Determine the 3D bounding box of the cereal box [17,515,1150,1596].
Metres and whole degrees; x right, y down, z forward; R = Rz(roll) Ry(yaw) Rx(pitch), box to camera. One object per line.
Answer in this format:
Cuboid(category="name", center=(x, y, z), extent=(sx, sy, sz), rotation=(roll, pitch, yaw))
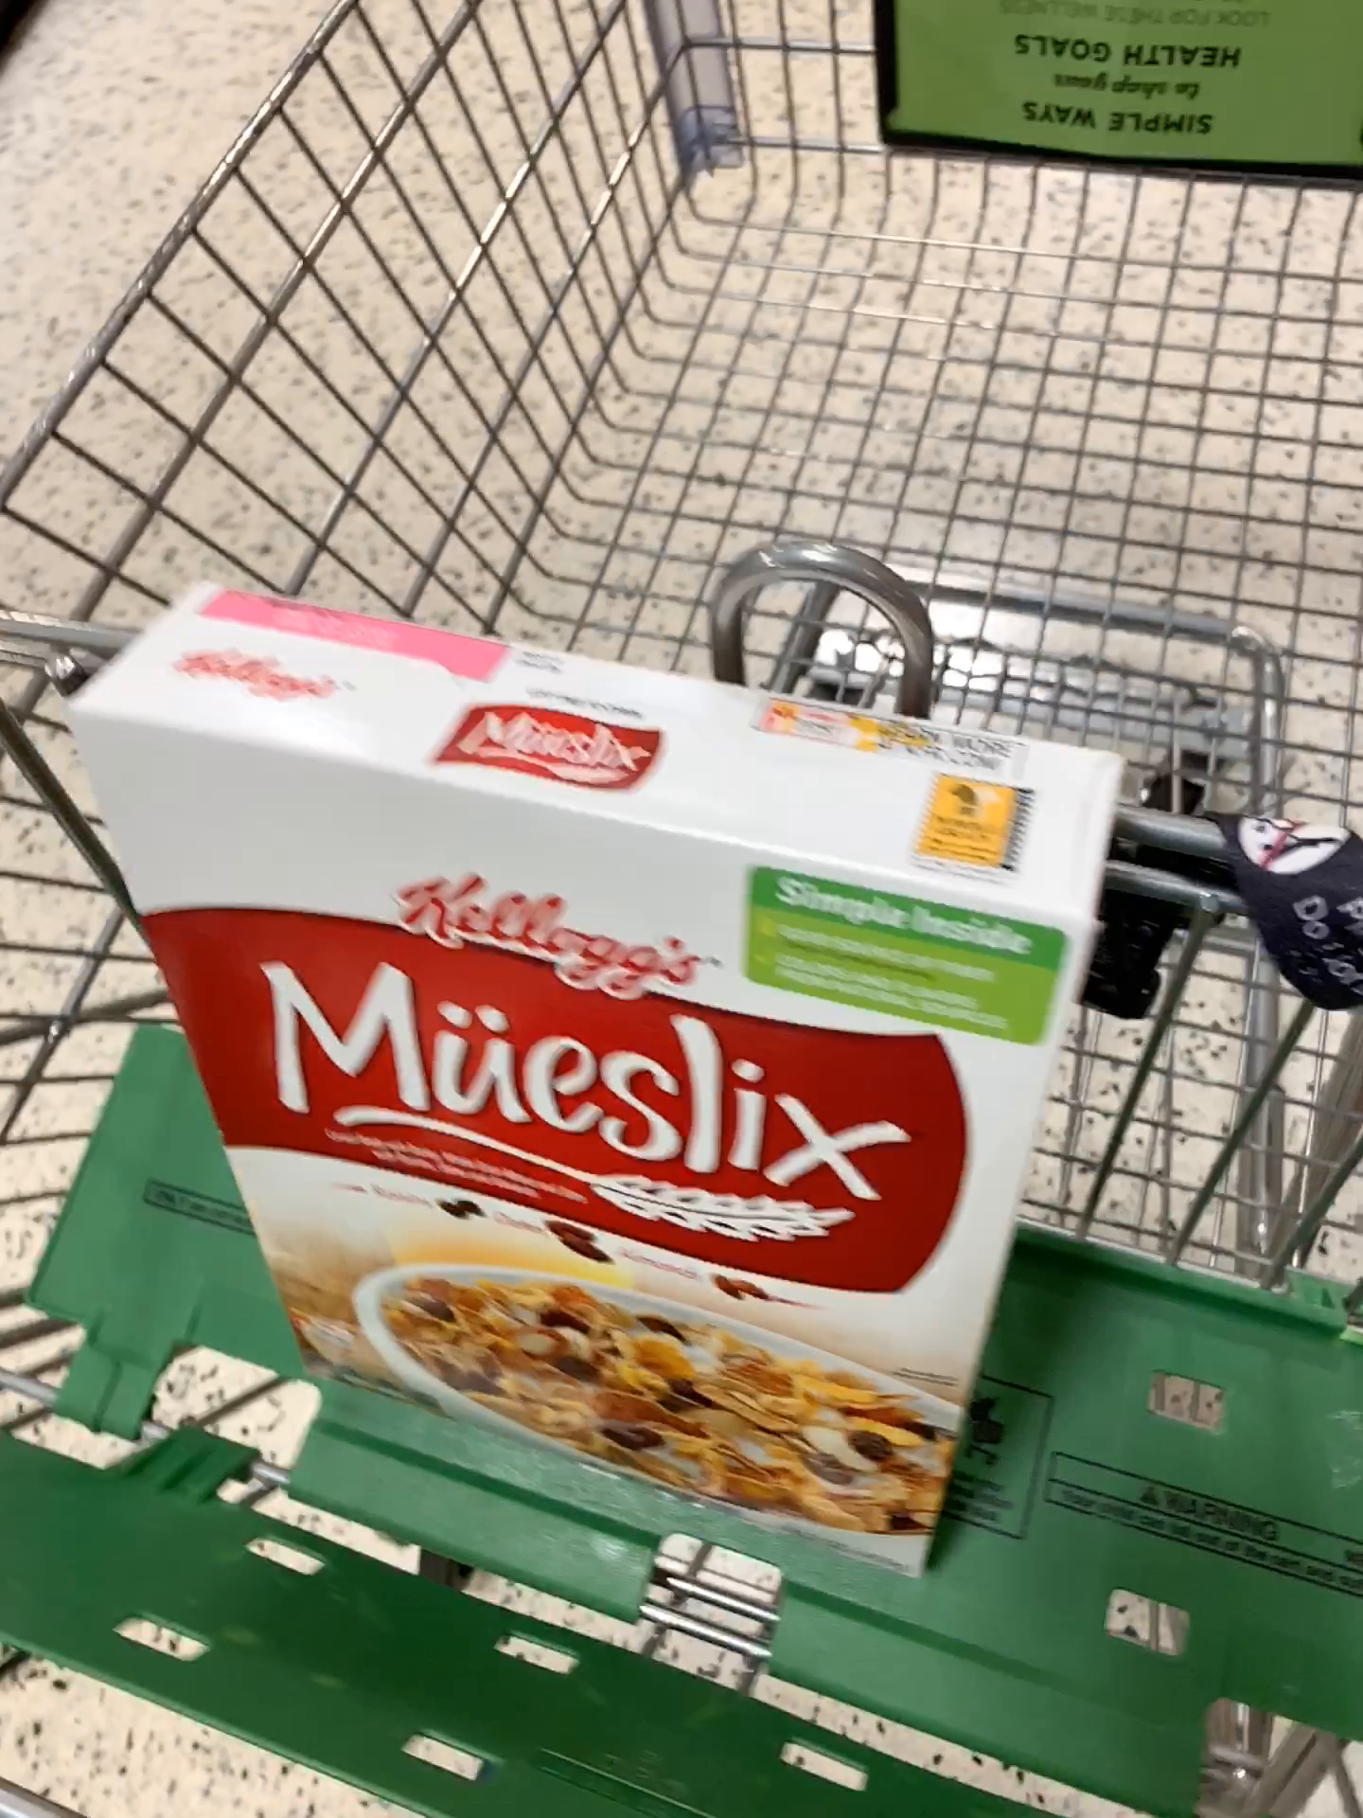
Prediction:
Cuboid(category="cereal box", center=(-0.019, 0.054, 0.352), extent=(0.200, 0.268, 0.060), rotation=(13, 45, 14))
